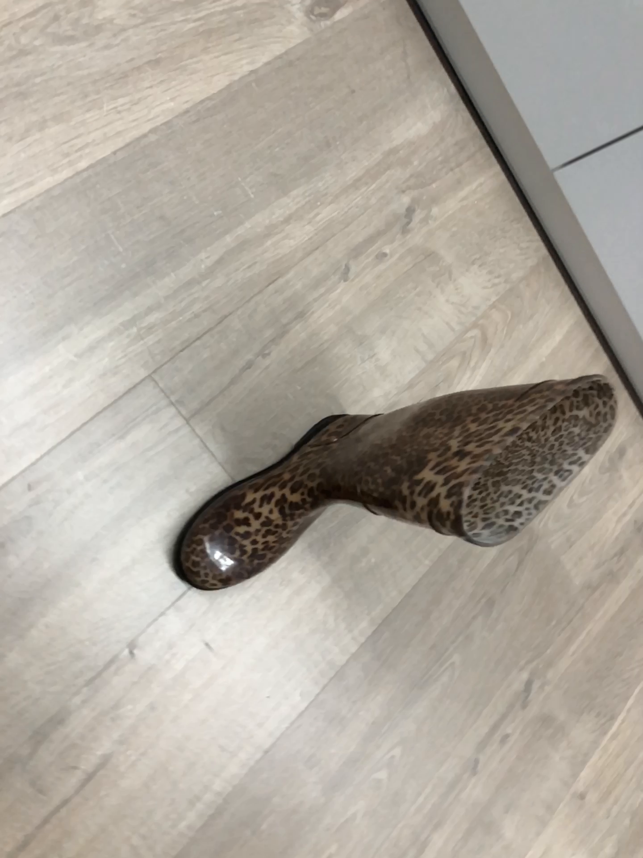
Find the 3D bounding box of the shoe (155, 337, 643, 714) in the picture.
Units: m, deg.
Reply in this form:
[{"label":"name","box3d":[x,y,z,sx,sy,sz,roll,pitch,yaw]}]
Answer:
[{"label":"shoe","box3d":[0.043,0.055,0.600,0.281,0.339,0.090,-37,105,-24]}]
